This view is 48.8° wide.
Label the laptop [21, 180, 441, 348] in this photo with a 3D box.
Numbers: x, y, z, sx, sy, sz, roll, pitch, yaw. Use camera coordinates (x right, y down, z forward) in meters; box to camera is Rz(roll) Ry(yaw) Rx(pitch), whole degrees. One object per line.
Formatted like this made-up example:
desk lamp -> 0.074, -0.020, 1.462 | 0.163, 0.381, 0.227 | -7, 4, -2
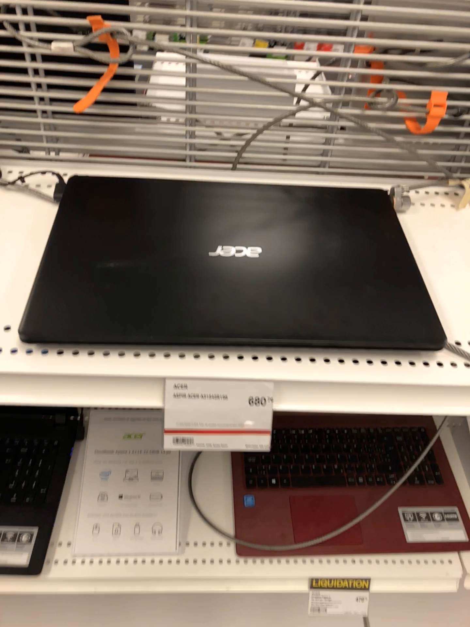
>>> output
laptop -> -0.001, -0.060, 0.518 | 0.354, 0.006, 0.232 | 2, 46, -5
